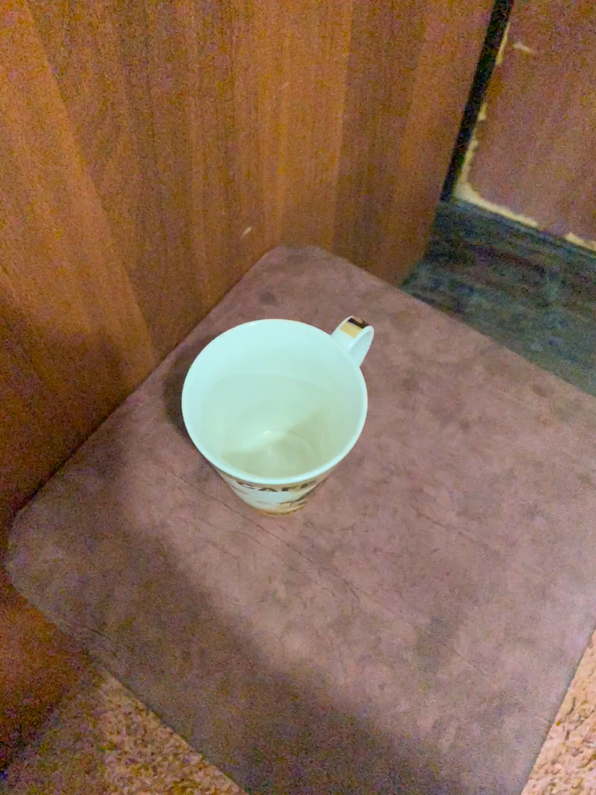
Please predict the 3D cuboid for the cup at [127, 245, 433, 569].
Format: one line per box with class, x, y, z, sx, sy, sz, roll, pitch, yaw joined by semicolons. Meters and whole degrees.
cup;-0.007;0.006;0.337;0.095;0.092;0.119;33;66;16
